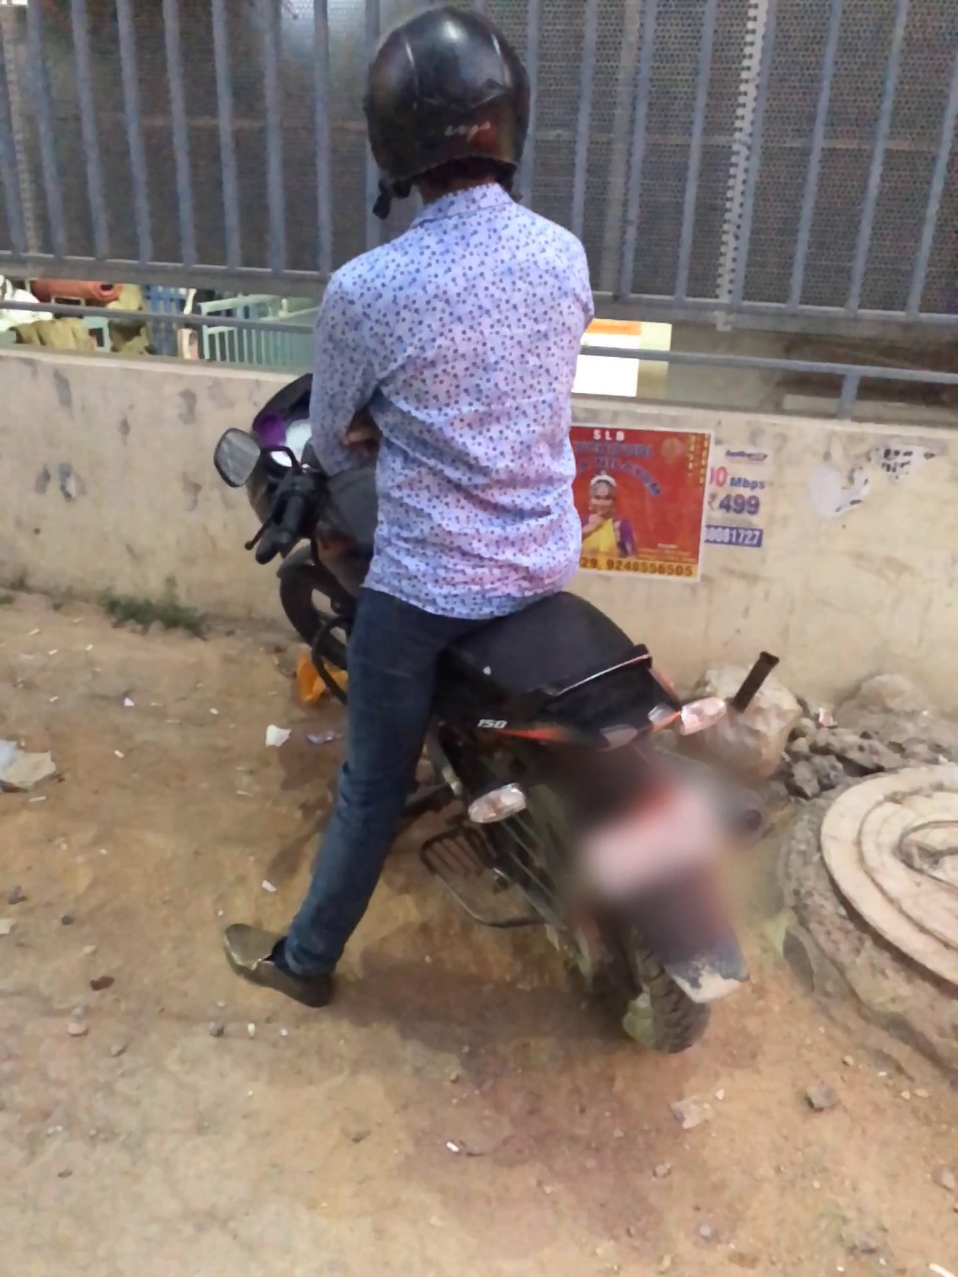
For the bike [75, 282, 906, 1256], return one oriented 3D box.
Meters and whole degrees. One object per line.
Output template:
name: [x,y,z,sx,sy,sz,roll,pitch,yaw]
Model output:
bike: [-0.224,-0.027,2.179,0.747,1.144,1.808,-9,27,-27]
